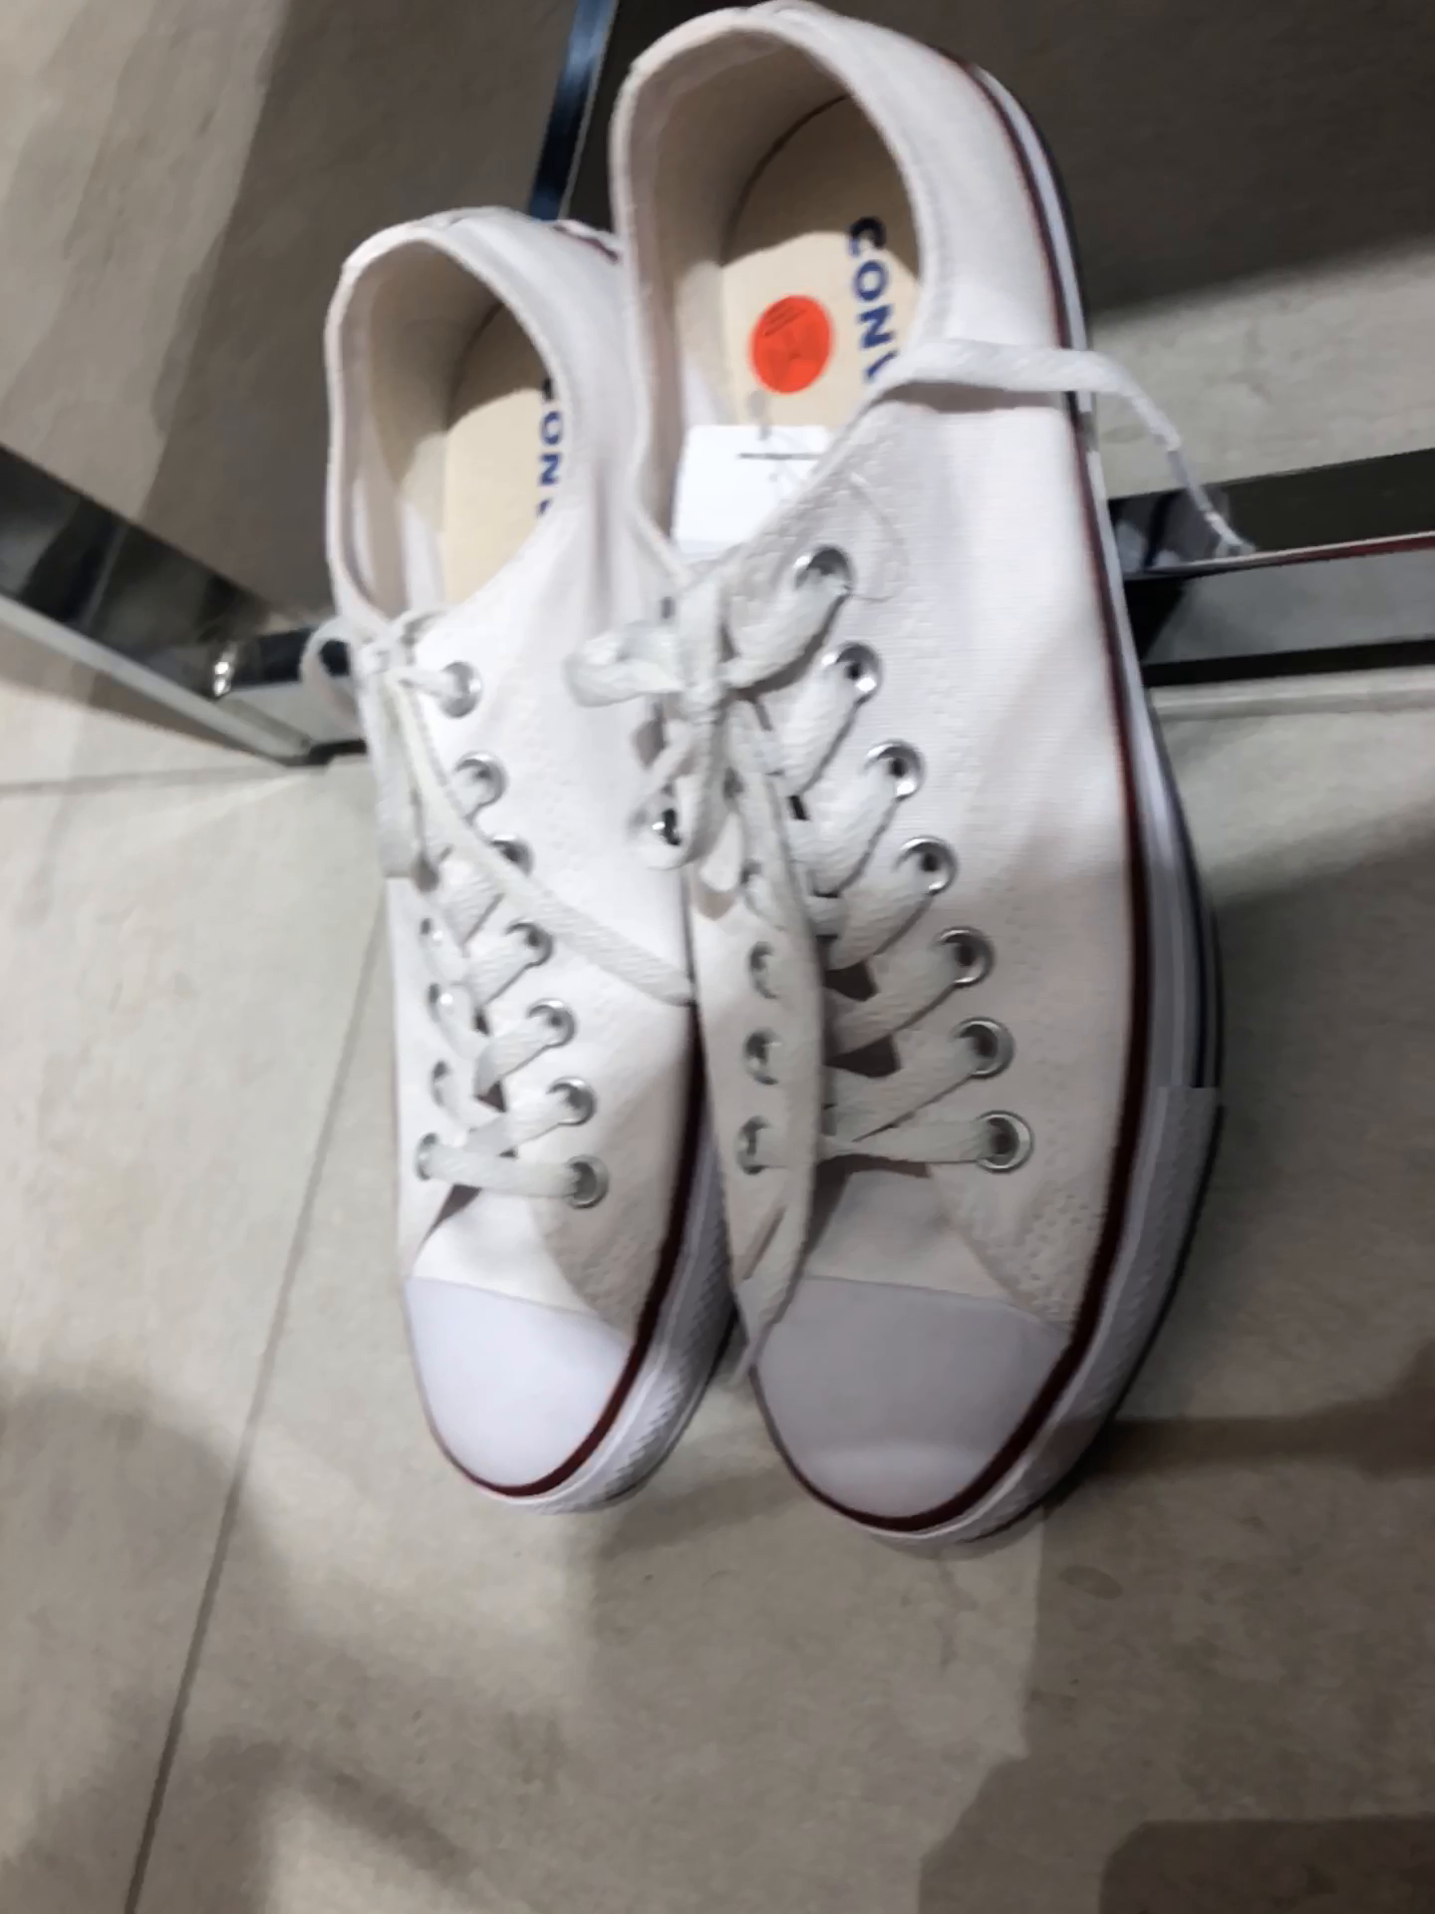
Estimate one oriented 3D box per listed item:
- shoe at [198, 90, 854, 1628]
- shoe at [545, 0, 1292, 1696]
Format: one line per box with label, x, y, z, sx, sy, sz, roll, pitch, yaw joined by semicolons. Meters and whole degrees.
shoe;-0.042;-0.019;0.371;0.110;0.090;0.290;2;96;38
shoe;0.042;-0.032;0.308;0.100;0.090;0.290;0;95;38
